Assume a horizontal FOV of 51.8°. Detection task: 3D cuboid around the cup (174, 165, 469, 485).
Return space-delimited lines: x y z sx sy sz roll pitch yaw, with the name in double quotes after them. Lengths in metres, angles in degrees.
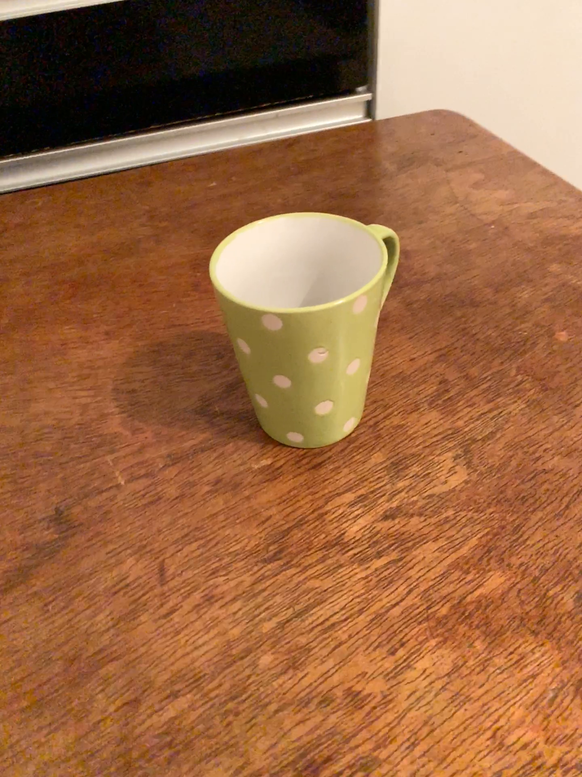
0.022 -0.039 0.321 0.090 0.099 0.120 23 51 28 "cup"
